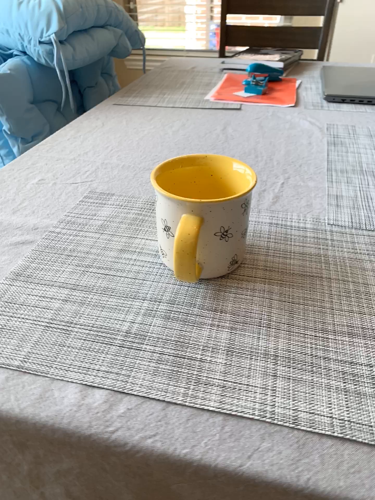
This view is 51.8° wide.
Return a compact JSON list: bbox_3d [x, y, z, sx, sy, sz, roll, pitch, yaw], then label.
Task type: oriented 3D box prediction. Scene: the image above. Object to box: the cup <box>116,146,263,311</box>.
[{"bbox_3d":[0.010,-0.031,0.416,0.113,0.107,0.137,9,36,13],"label":"cup"}]
